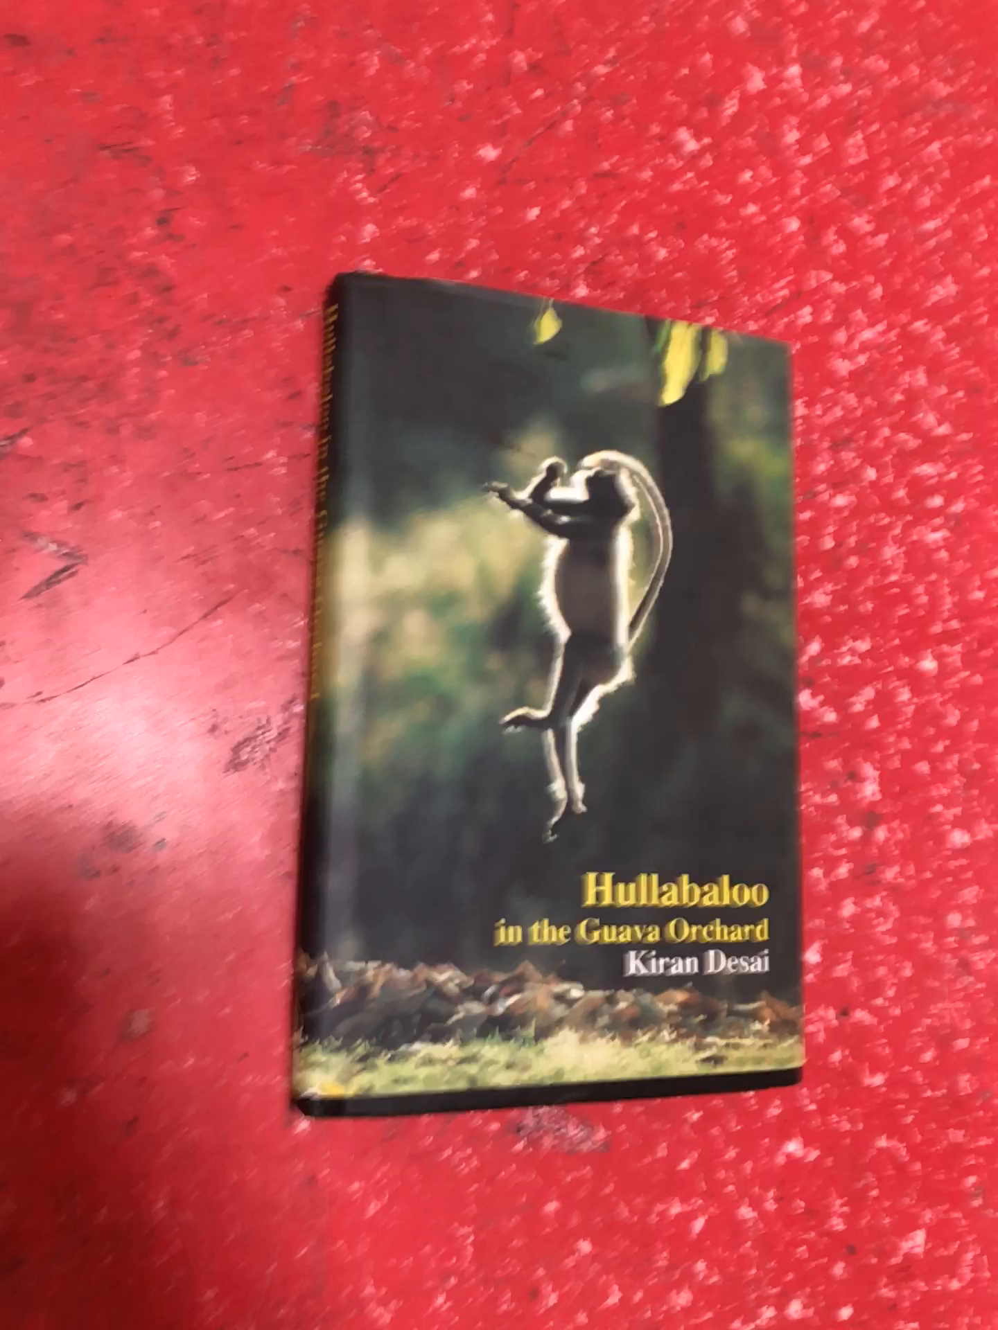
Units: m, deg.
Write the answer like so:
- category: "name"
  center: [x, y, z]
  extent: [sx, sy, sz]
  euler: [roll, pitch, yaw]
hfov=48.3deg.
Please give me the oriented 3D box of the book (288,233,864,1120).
- category: "book"
  center: [0.026, 0.003, 0.325]
  extent: [0.160, 0.030, 0.230]
  euler: [4, 81, -19]
